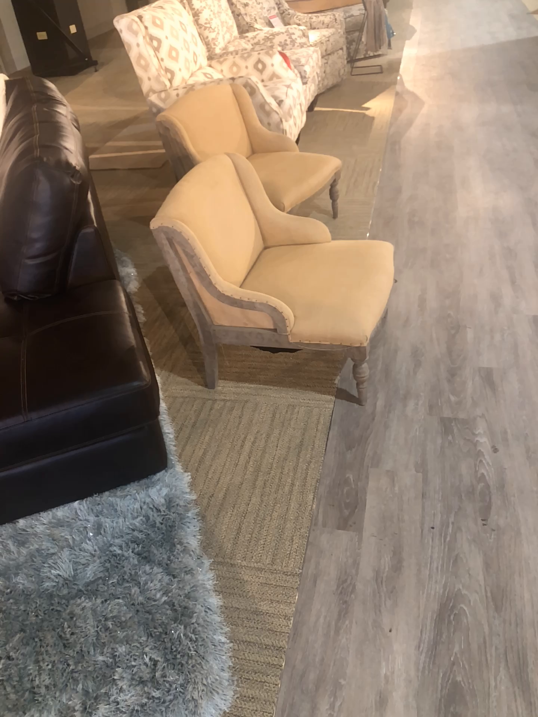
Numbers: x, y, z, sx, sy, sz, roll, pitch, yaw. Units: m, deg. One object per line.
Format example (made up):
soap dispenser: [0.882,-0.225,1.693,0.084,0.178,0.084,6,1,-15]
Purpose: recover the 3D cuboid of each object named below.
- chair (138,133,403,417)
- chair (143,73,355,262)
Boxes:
chair: [0.074,-0.305,1.996,0.669,0.685,0.640,4,38,15]
chair: [-0.051,-0.937,2.801,0.719,0.625,0.629,14,42,26]
